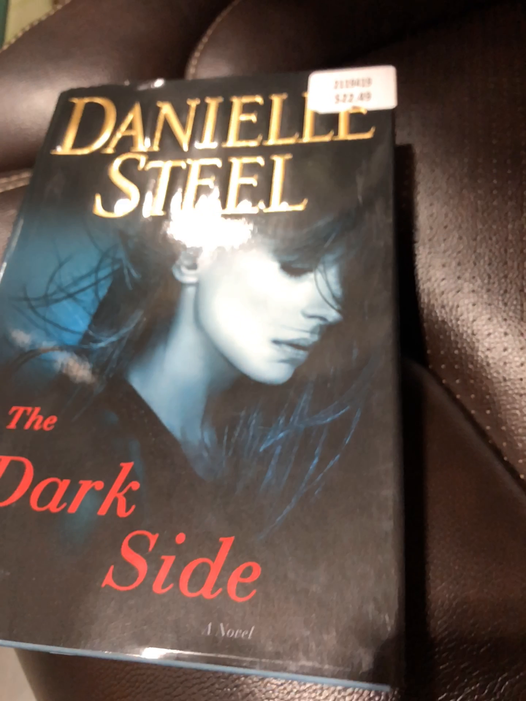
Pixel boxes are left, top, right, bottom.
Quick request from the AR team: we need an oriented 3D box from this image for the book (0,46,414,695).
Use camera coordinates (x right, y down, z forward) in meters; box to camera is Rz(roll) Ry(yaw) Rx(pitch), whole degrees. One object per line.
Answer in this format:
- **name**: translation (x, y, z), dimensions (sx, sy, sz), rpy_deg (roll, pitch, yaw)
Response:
- **book**: translation (-0.033, -0.013, 0.232), dimensions (0.168, 0.040, 0.237), rpy_deg (0, 64, 10)
